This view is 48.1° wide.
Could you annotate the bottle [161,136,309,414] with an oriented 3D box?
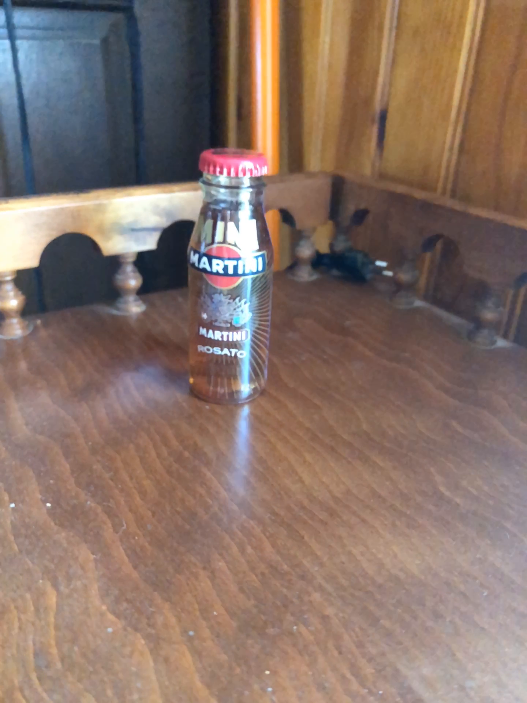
[{"bbox_3d":[-0.012,-0.035,0.268,0.050,0.109,0.050,2,28,-1],"label":"bottle"}]
